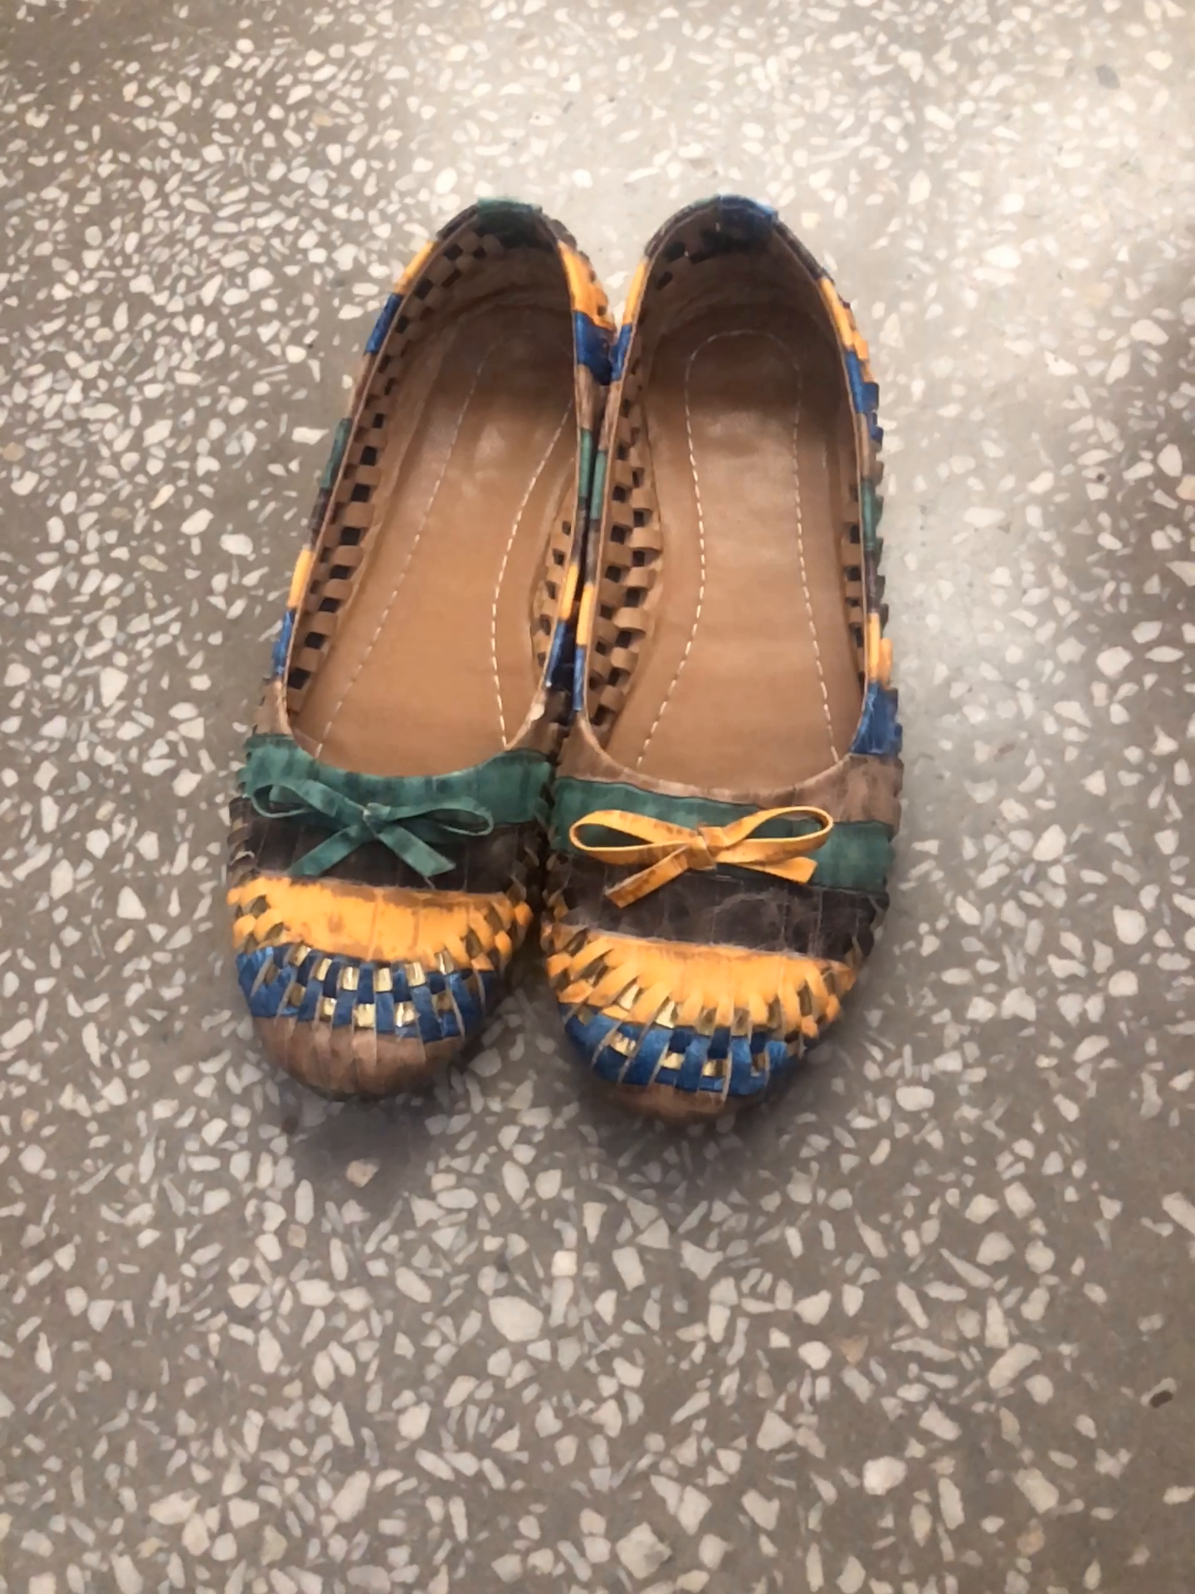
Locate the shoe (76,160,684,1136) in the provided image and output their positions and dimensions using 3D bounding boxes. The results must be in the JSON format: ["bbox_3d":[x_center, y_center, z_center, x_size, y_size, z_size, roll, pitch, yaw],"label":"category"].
[{"bbox_3d":[-0.042,-0.042,0.347,0.090,0.074,0.237,8,72,10],"label":"shoe"}]

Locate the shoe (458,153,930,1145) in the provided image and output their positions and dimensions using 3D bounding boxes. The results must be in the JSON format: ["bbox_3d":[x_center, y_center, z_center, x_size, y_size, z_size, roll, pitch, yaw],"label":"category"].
[{"bbox_3d":[0.032,-0.040,0.337,0.090,0.074,0.237,3,71,9],"label":"shoe"}]
